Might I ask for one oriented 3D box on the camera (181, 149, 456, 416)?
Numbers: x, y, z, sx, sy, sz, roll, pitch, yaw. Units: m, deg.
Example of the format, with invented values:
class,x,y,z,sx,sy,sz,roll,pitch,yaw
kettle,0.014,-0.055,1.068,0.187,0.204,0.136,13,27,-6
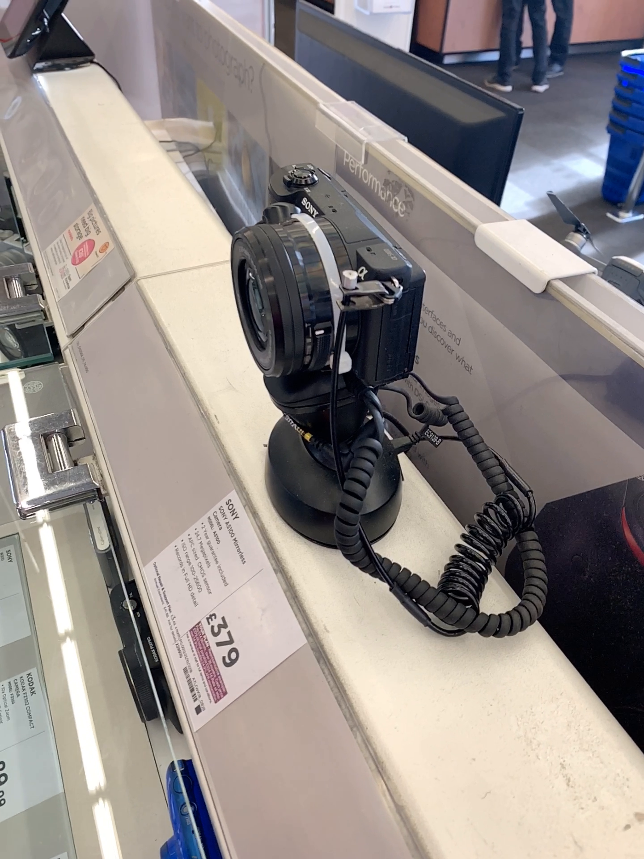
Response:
class,x,y,z,sx,sy,sz,roll,pitch,yaw
camera,-0.009,-0.075,0.306,0.080,0.059,0.121,-13,44,-18
